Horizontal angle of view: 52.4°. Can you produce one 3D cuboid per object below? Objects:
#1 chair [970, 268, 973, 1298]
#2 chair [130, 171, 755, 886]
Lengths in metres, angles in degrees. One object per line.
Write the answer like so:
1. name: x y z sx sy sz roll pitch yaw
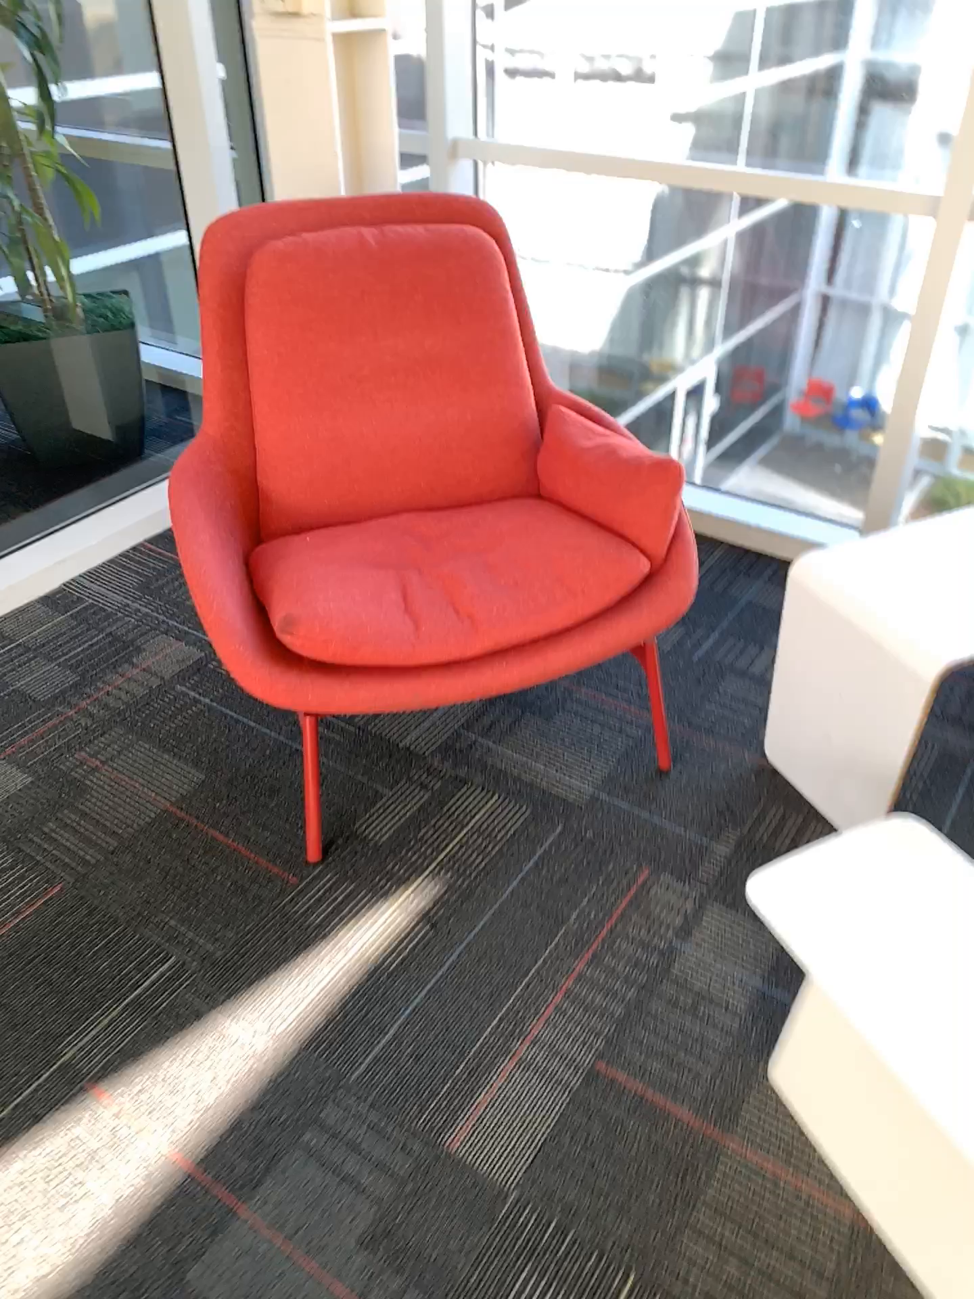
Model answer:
1. chair: 1.437 0.186 1.263 0.920 0.994 0.875 -11 37 -14
2. chair: -0.137 -0.292 2.021 0.870 1.054 0.825 -12 38 -16
